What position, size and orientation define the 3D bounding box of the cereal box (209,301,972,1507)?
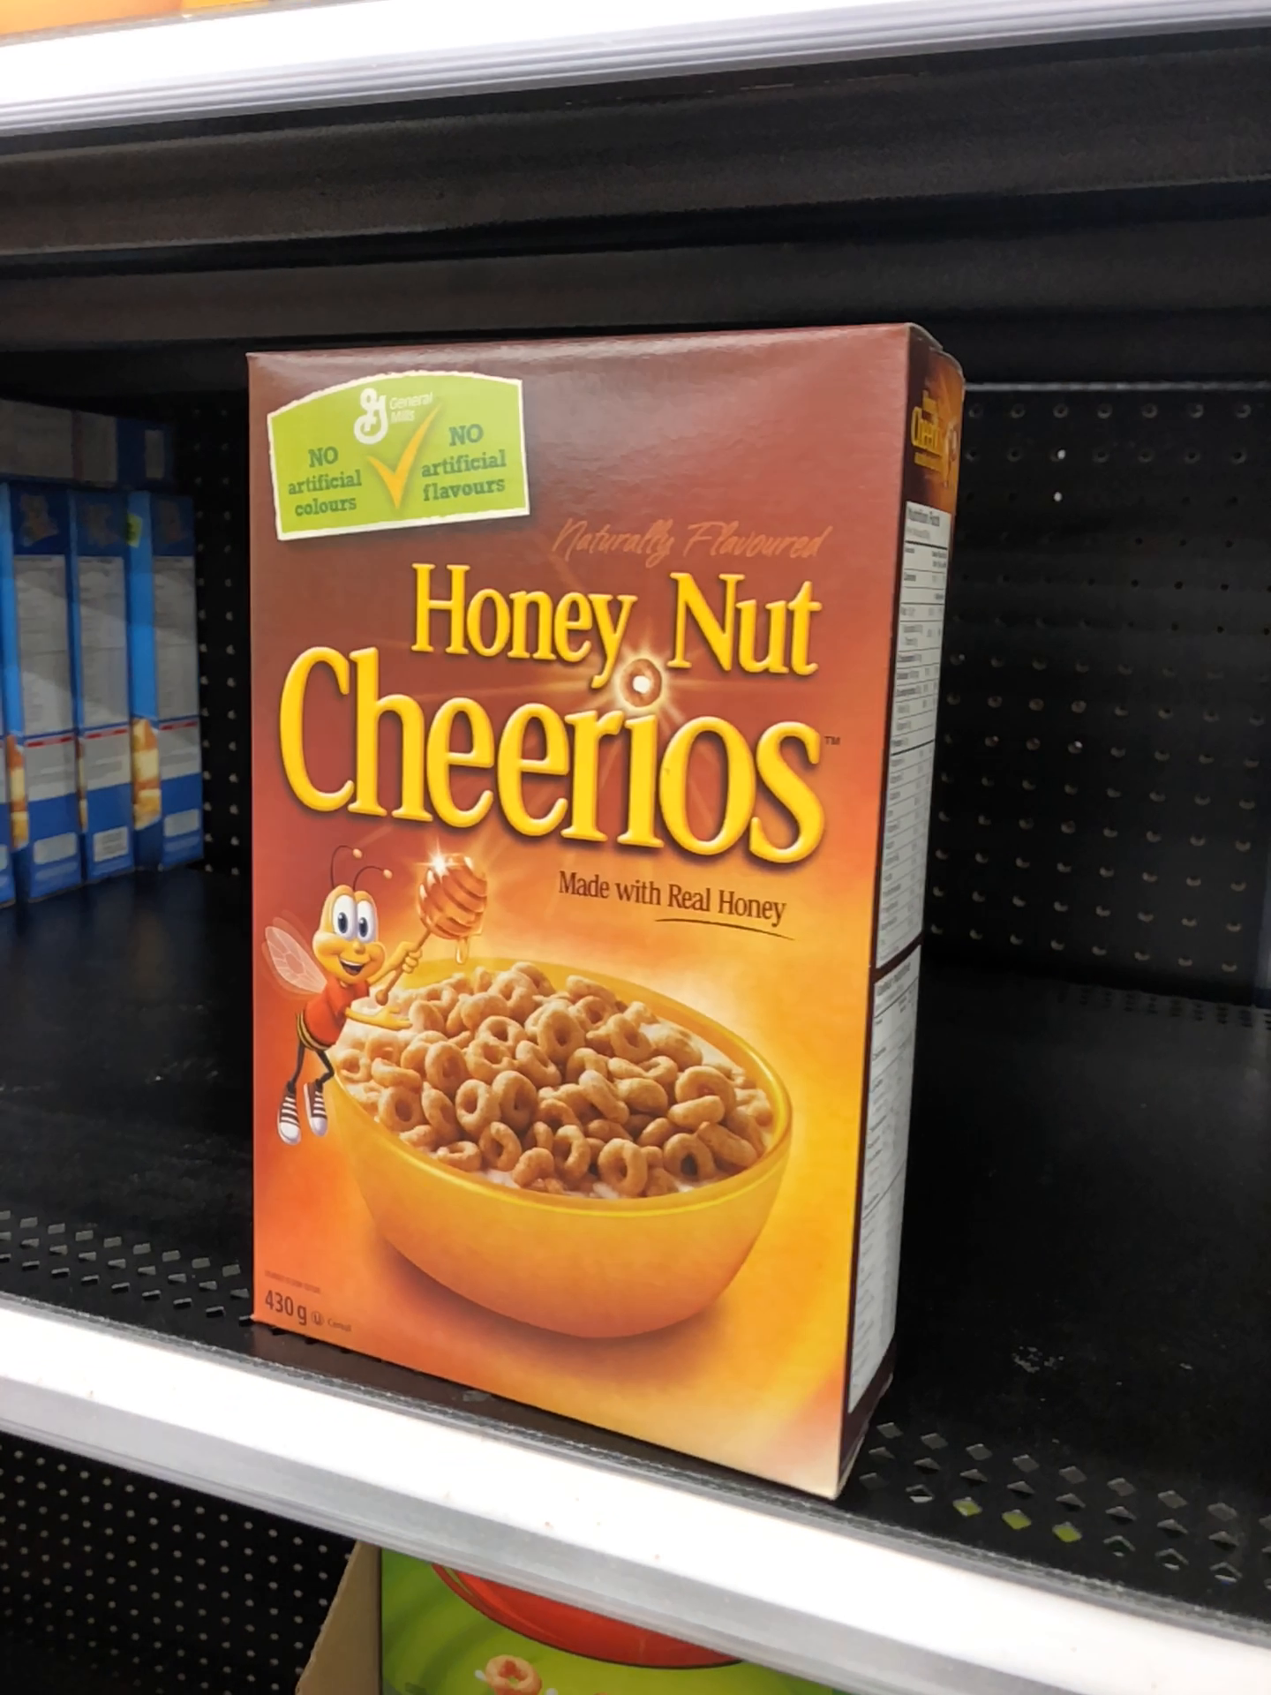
[{"bbox_3d":[-0.019,0.008,0.412,0.200,0.299,0.070,6,11,24],"label":"cereal box"}]
